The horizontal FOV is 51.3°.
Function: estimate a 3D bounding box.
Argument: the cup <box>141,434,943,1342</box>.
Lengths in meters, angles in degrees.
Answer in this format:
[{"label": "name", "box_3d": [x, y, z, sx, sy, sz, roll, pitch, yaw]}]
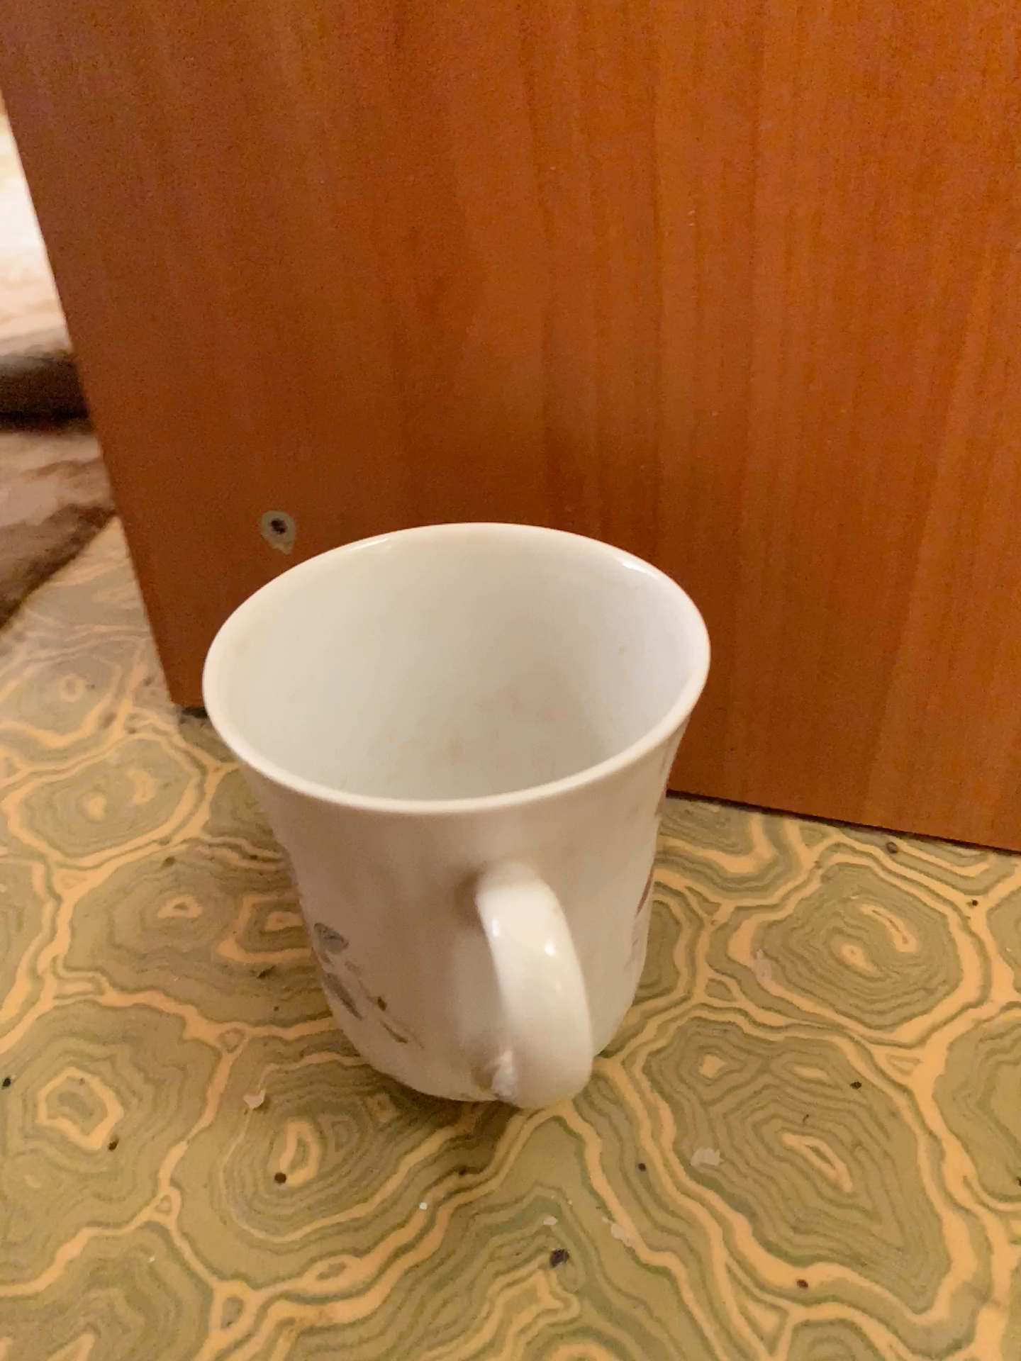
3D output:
[{"label": "cup", "box_3d": [-0.004, 0.024, 0.198, 0.086, 0.086, 0.119, -18, 38, -19]}]
